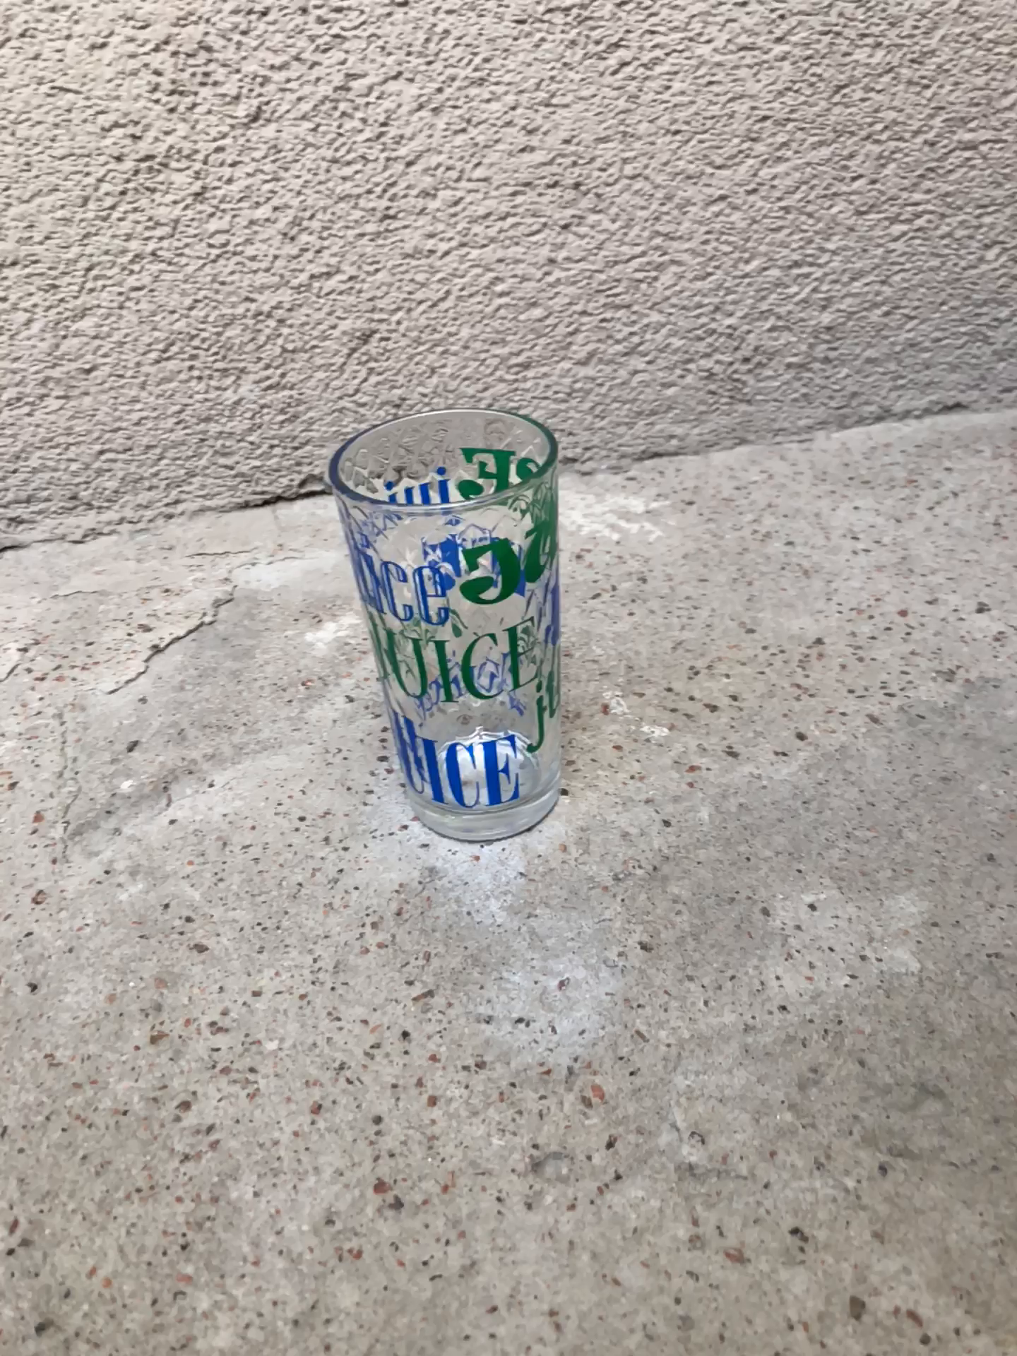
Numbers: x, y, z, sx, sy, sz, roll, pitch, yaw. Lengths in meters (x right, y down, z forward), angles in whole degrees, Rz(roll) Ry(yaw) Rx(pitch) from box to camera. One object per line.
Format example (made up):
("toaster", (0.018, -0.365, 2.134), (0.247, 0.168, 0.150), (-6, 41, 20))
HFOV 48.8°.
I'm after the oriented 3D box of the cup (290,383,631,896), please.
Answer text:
("cup", (-0.009, -0.013, 0.342), (0.066, 0.125, 0.067), (-3, 34, 2))
